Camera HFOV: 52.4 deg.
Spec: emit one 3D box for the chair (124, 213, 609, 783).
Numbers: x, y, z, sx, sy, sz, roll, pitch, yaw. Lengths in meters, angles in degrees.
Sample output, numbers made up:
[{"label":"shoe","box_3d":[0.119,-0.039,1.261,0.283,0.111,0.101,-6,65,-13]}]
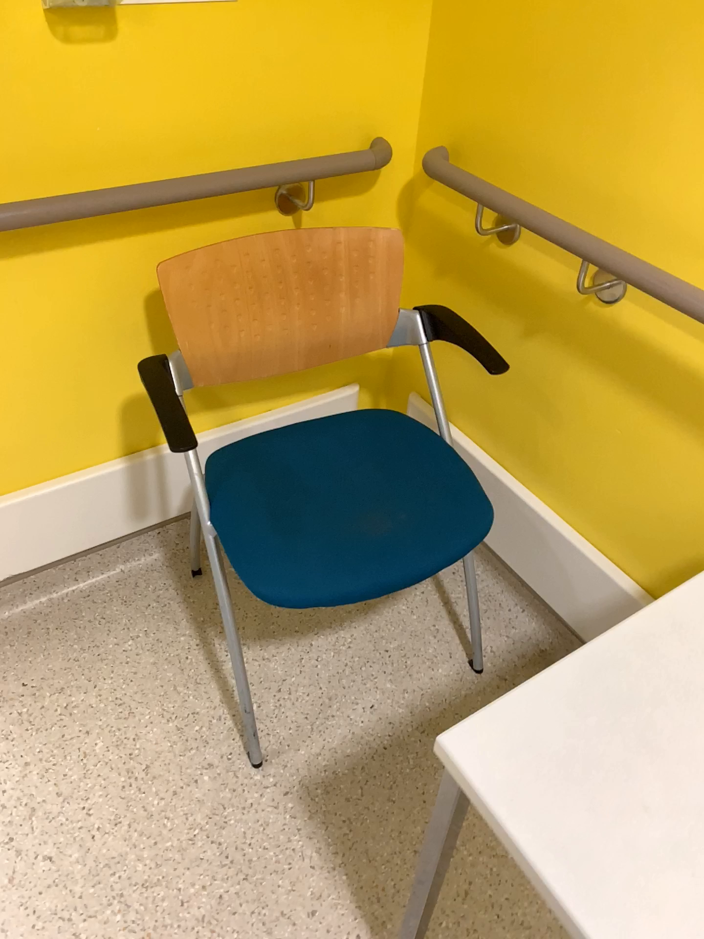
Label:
[{"label":"chair","box_3d":[-0.034,0.032,1.369,0.571,0.779,0.594,-14,42,-20]}]
